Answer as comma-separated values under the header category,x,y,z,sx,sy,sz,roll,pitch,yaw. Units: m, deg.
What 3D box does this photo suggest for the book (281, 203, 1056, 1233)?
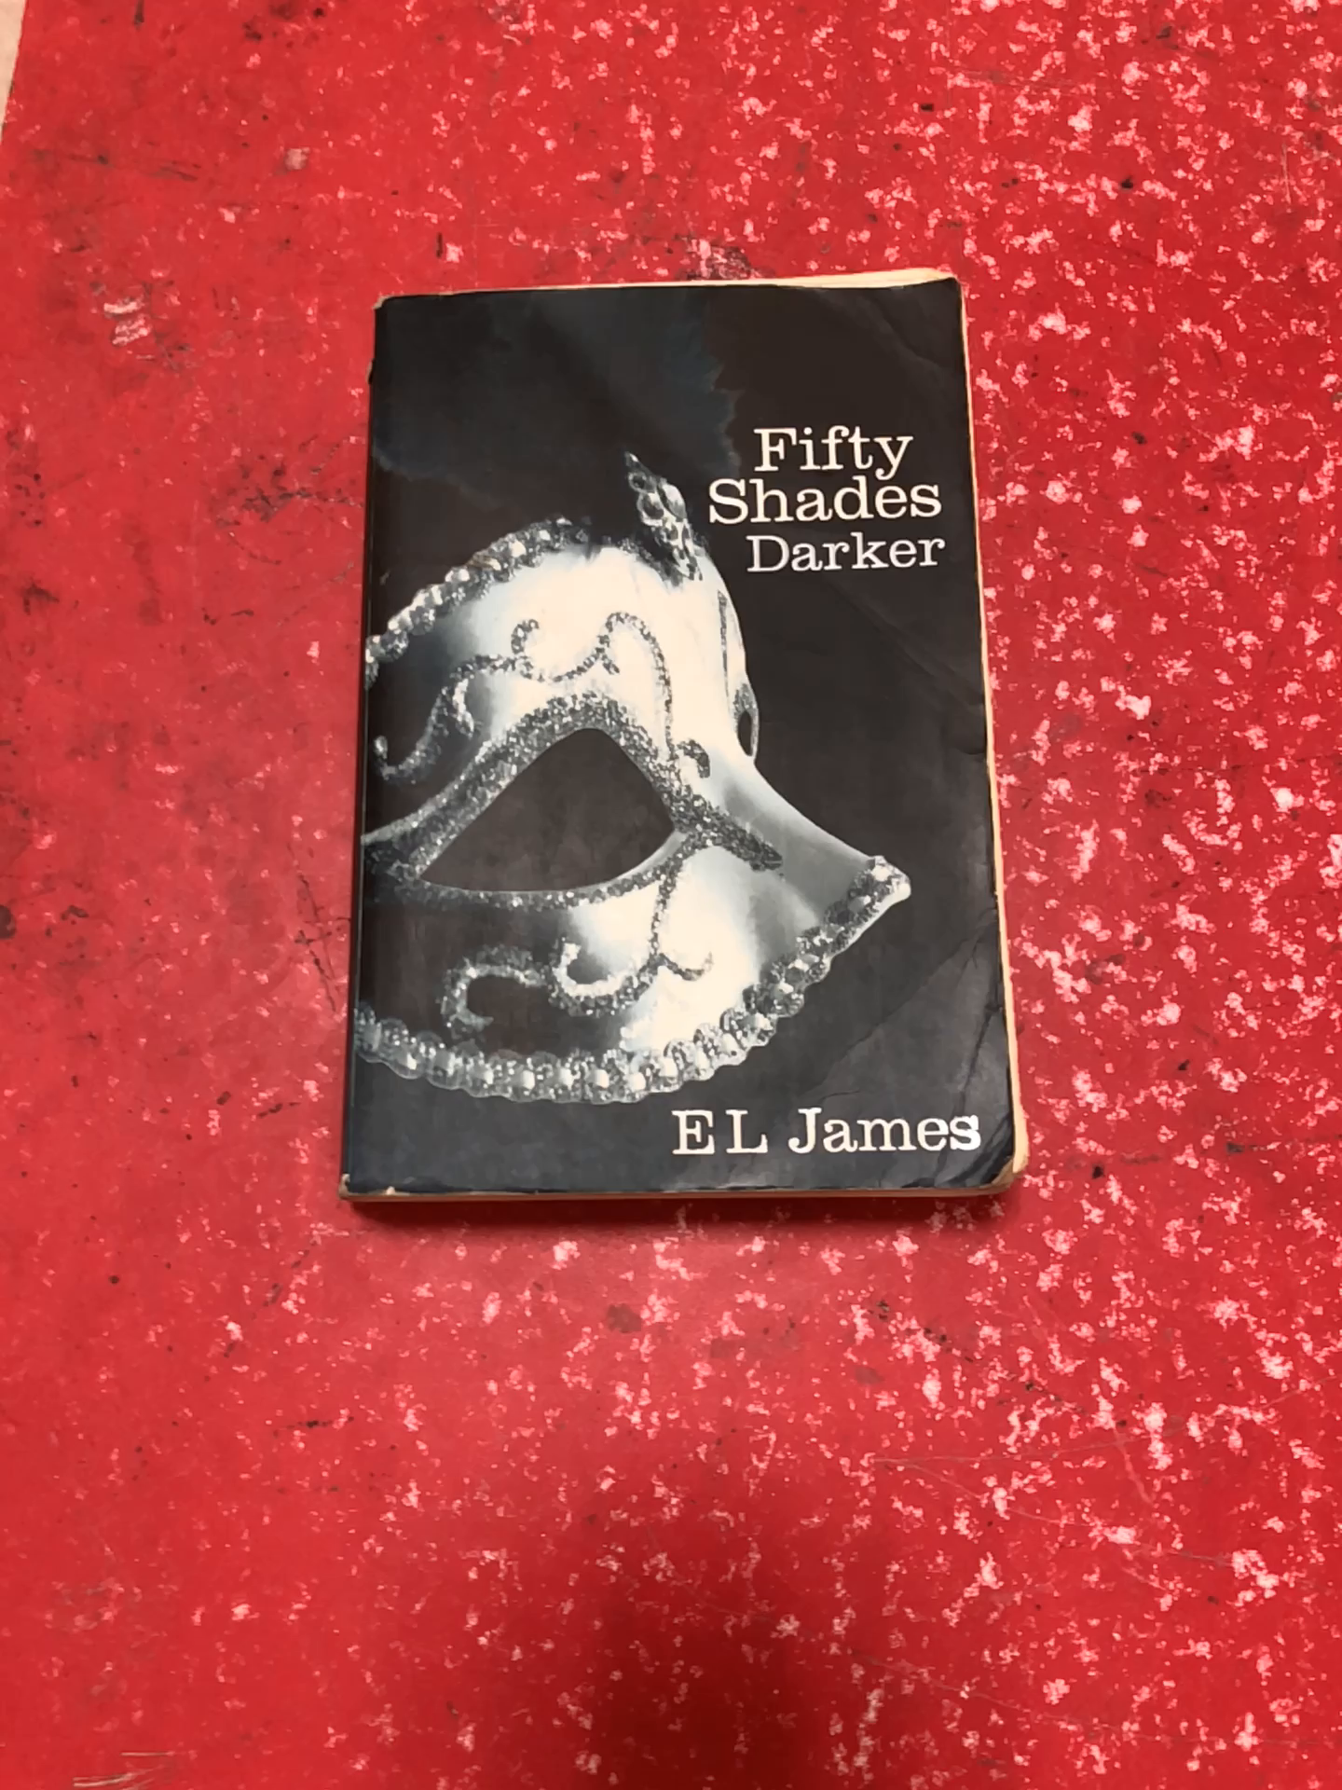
category,x,y,z,sx,sy,sz,roll,pitch,yaw
book,0.000,-0.036,0.318,0.140,0.050,0.210,-1,77,3
